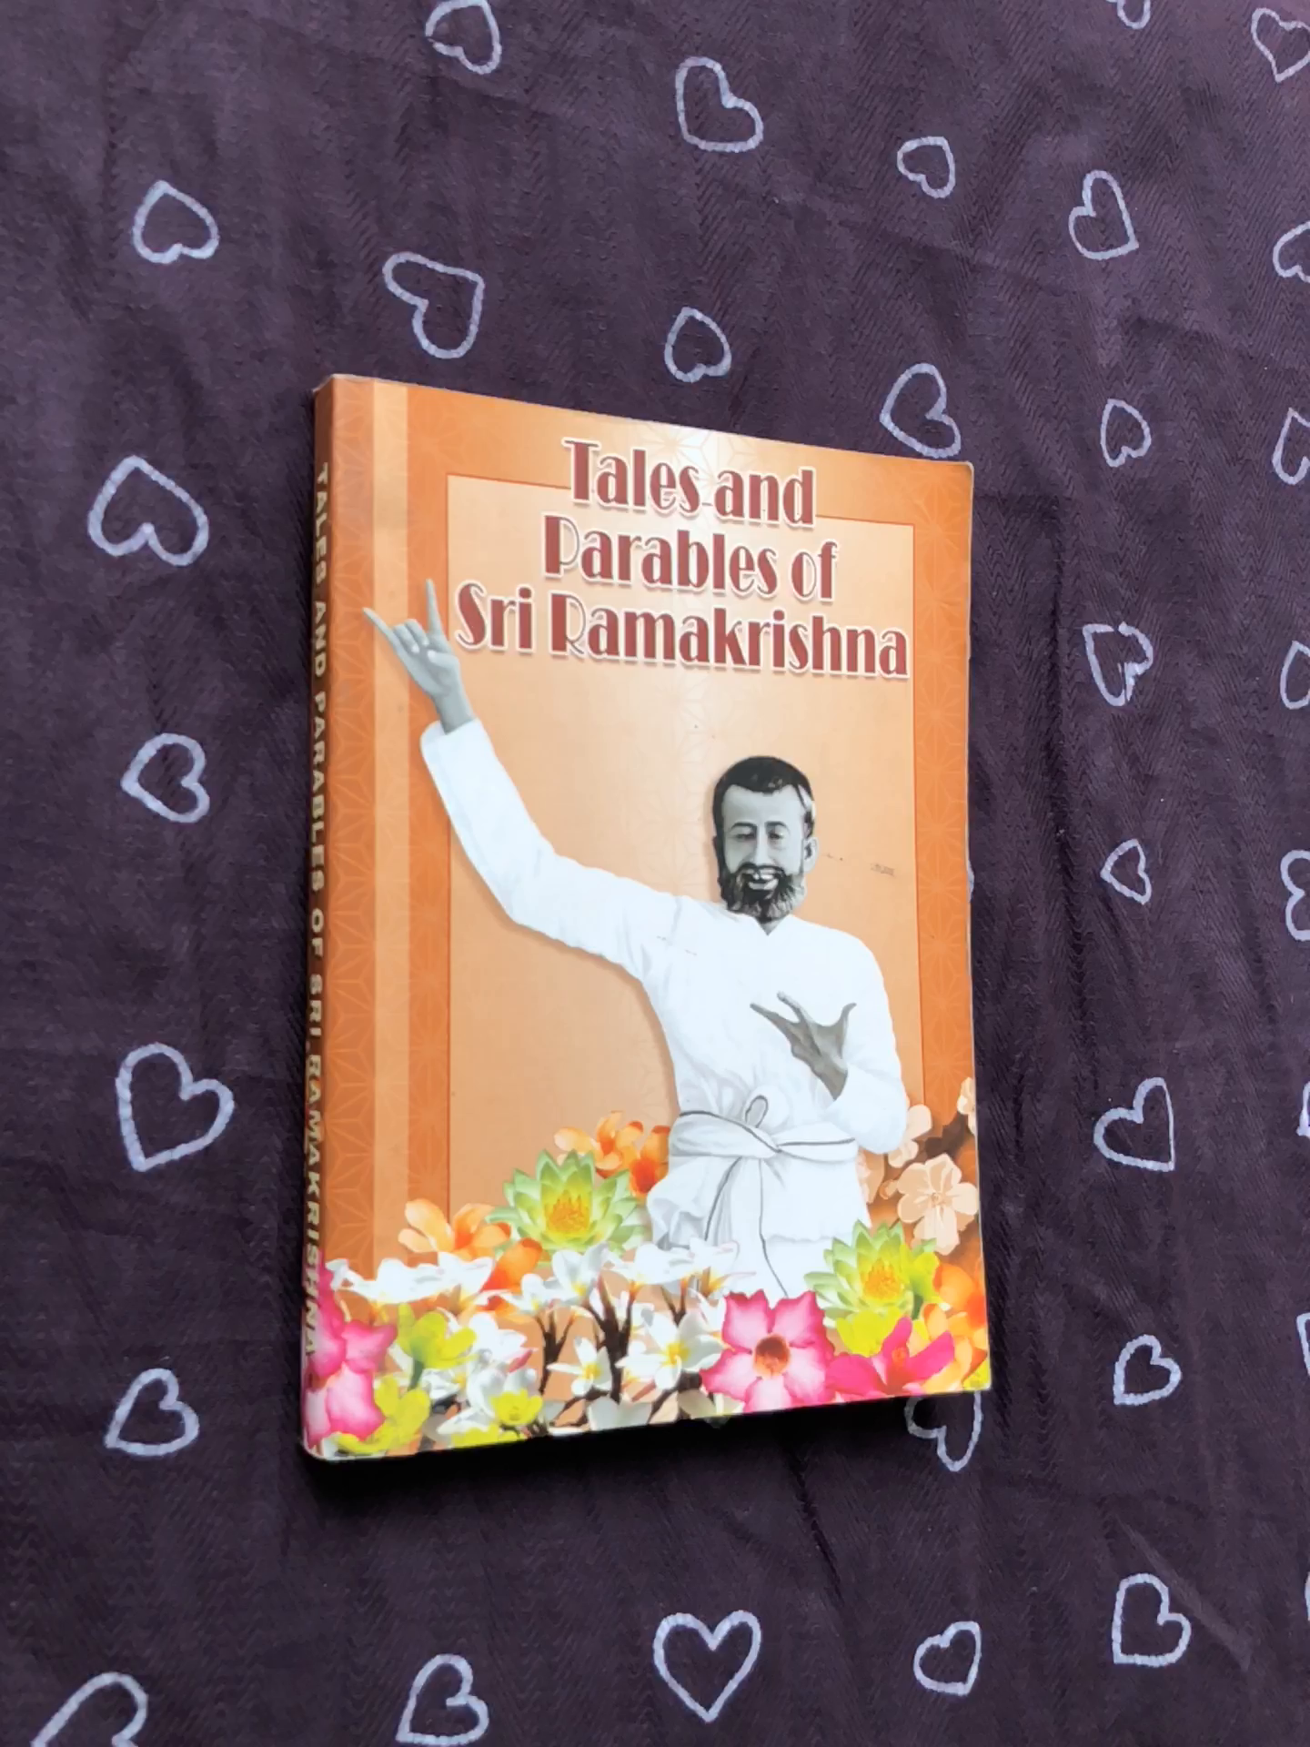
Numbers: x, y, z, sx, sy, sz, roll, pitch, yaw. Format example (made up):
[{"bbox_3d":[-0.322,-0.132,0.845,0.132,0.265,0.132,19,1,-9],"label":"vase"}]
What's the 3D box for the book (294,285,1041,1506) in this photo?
[{"bbox_3d":[0.005,0.003,0.258,0.130,0.020,0.190,1,85,-21],"label":"book"}]
